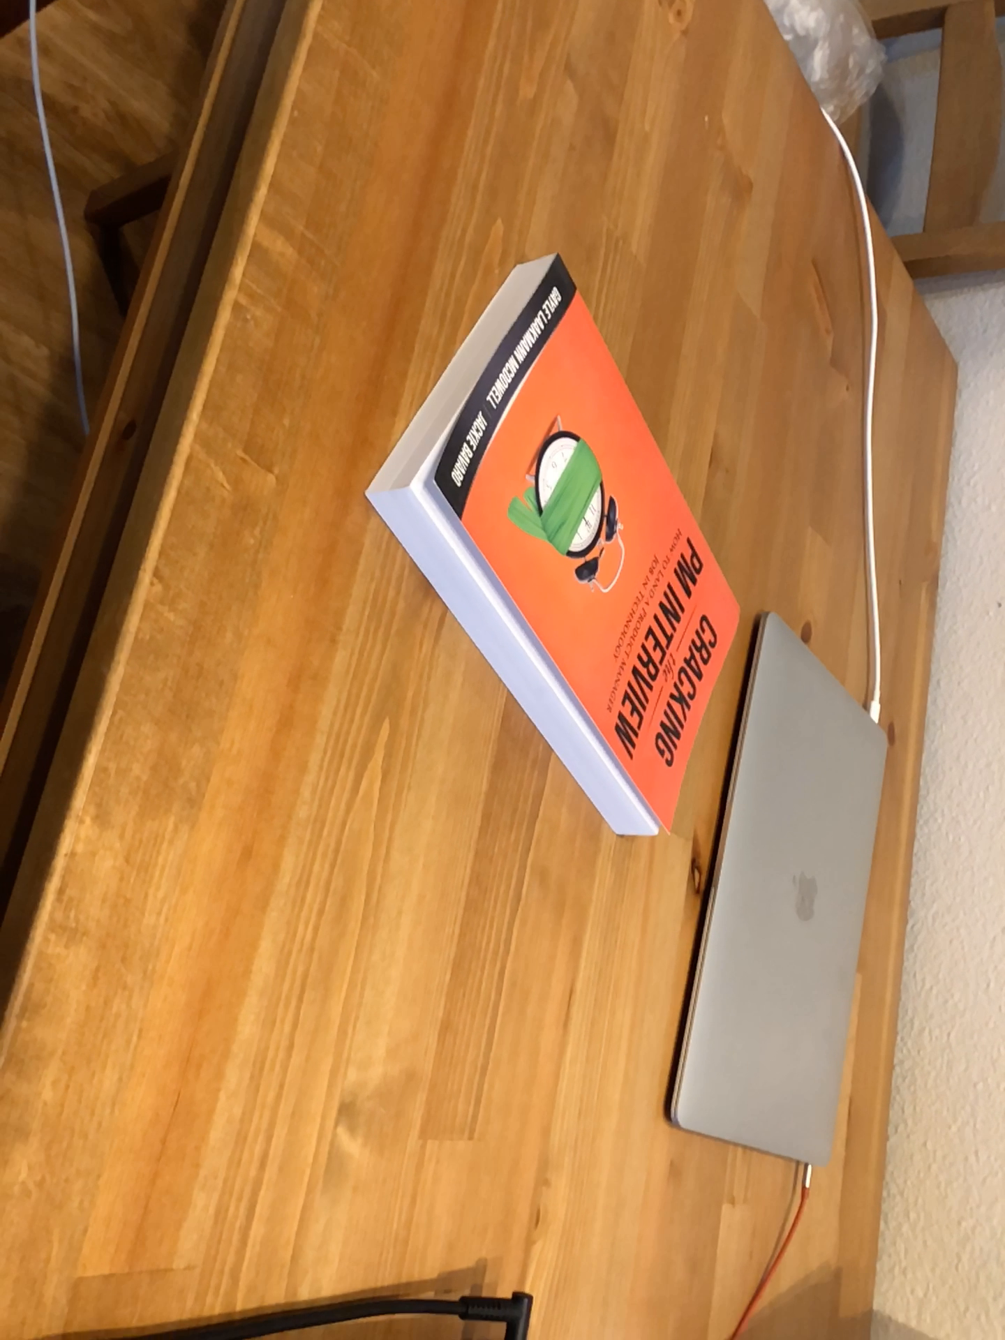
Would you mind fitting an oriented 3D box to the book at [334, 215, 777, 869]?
[{"bbox_3d":[0.045,-0.047,0.510,0.251,0.040,0.160,54,49,-37],"label":"book"}]
